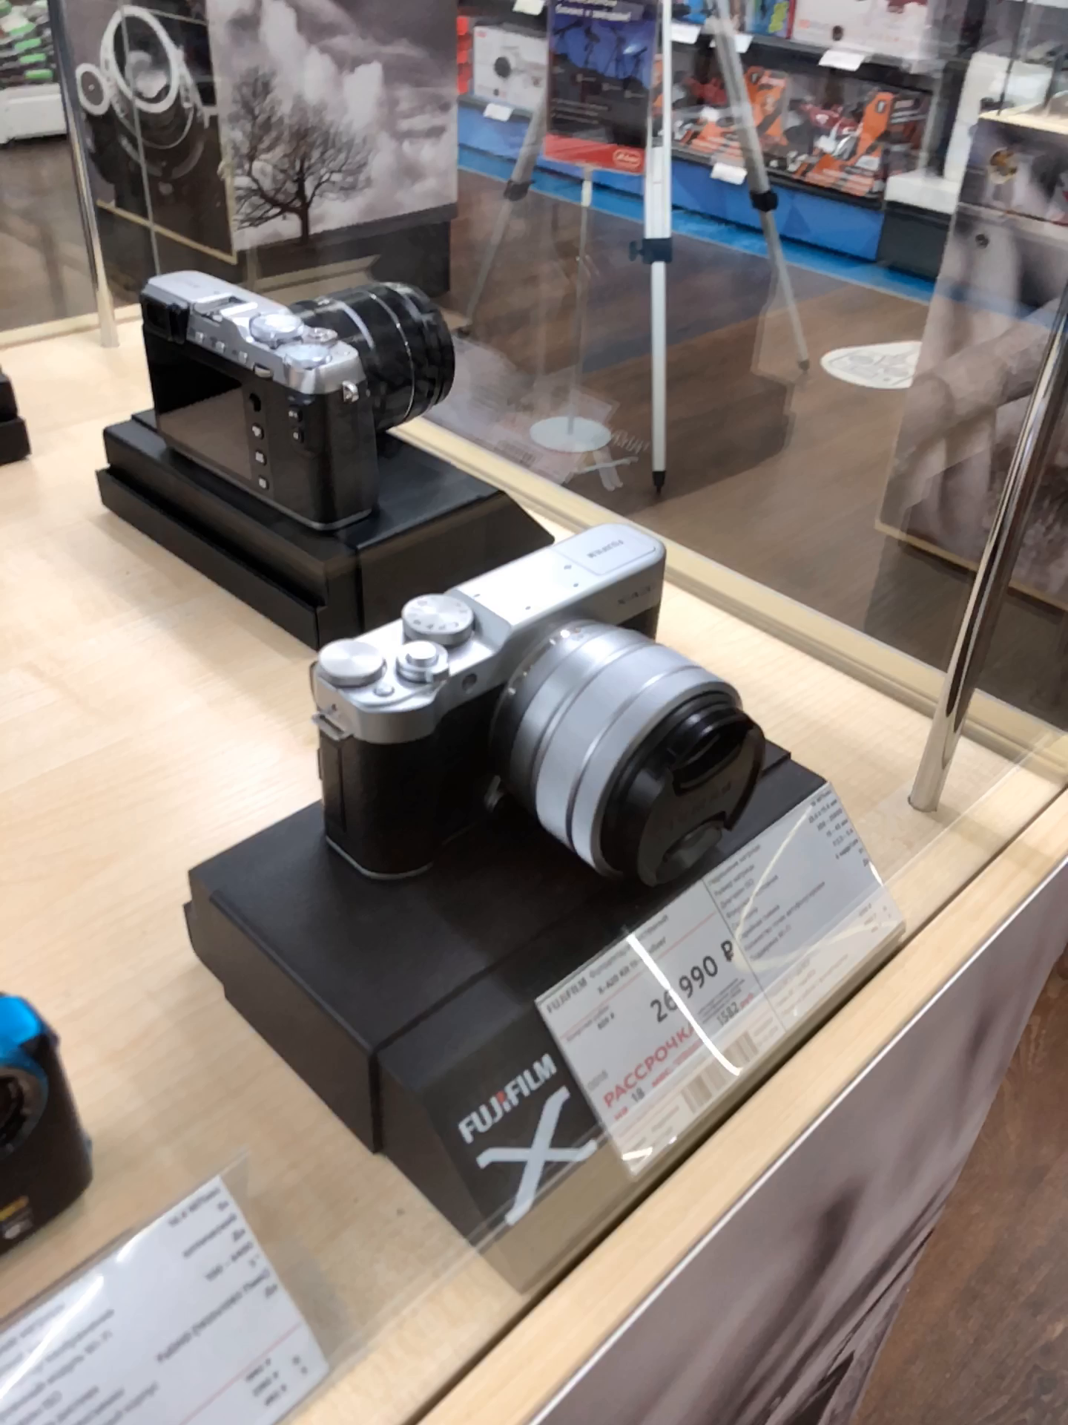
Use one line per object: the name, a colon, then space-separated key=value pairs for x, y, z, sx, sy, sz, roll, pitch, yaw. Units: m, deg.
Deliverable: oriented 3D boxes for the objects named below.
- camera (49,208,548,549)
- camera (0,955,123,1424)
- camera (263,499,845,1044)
camera: x=-0.108 y=-0.163 z=0.540 sx=0.188 sy=0.074 sz=0.130 roll=31 pitch=45 yaw=32
camera: x=-0.147 y=0.107 z=0.248 sx=0.106 sy=0.064 sz=0.025 roll=-29 pitch=47 yaw=-36
camera: x=0.006 y=0.007 z=0.322 sx=0.093 sy=0.070 sz=0.120 roll=32 pitch=45 yaw=33
